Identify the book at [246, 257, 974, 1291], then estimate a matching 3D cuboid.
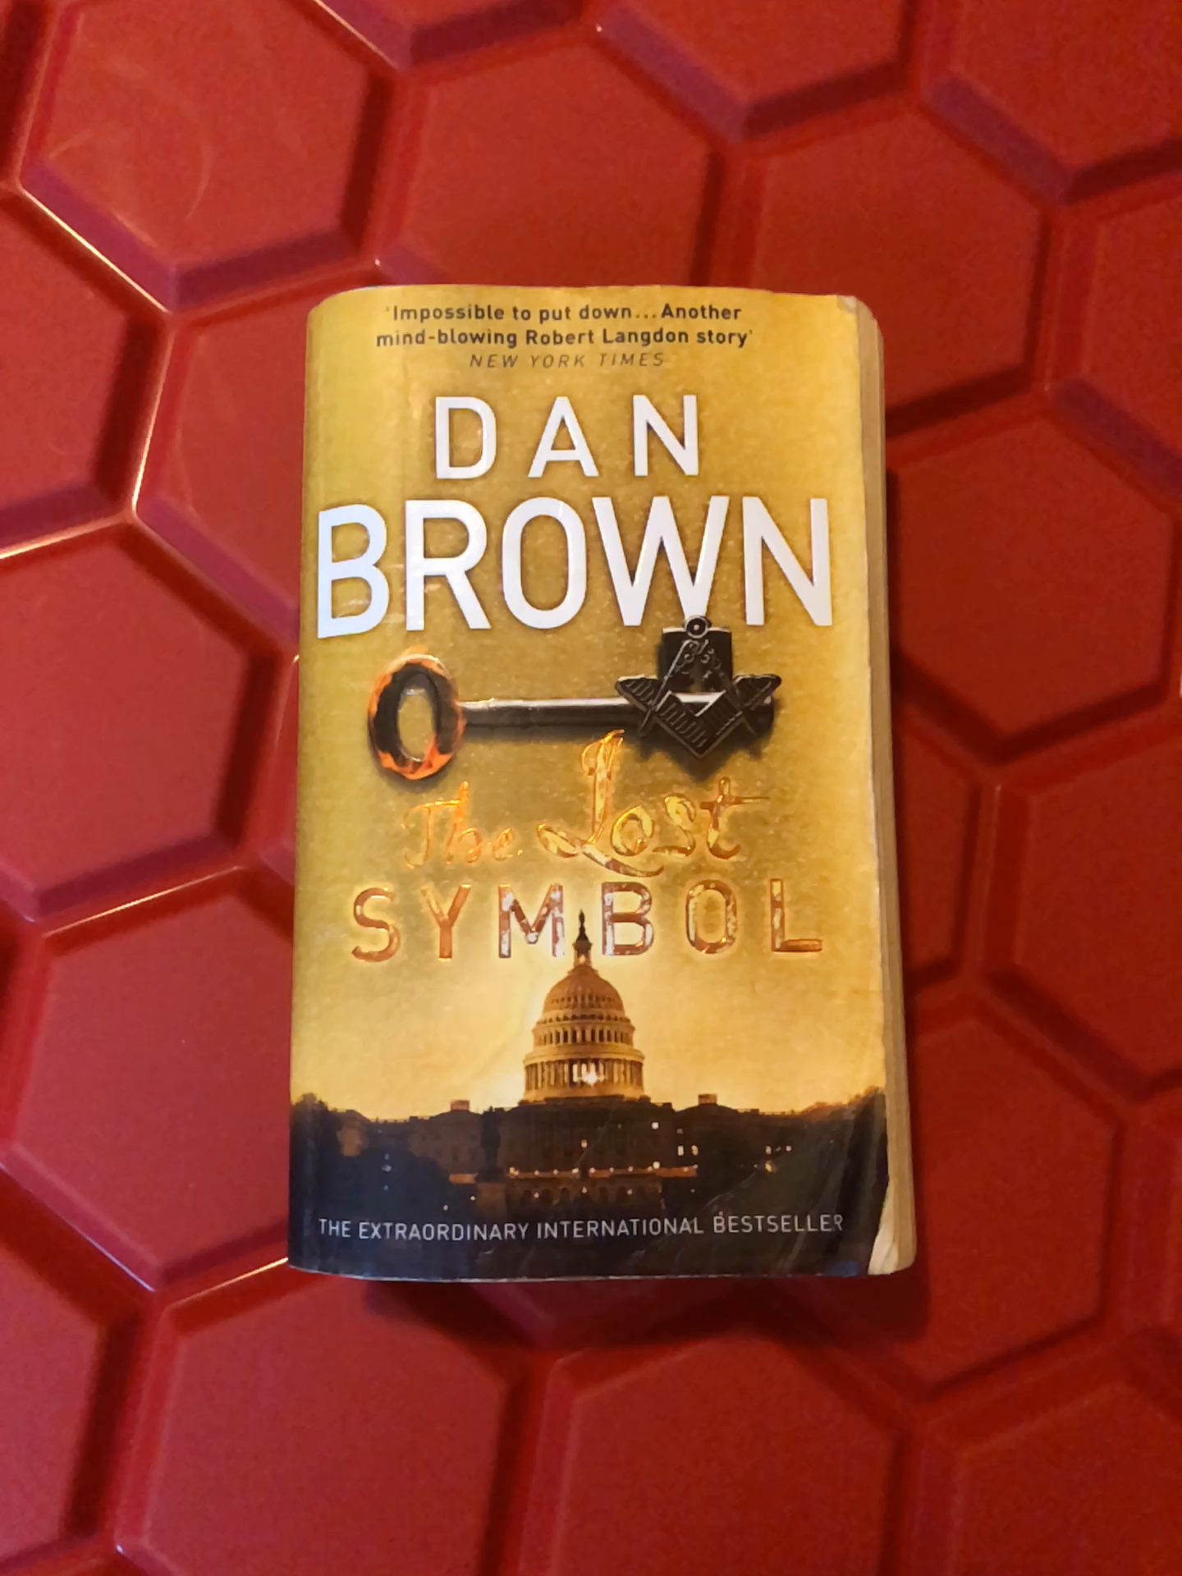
[{"bbox_3d":[0.002,-0.004,0.259,0.122,0.051,0.183,0,82,-3],"label":"book"}]
